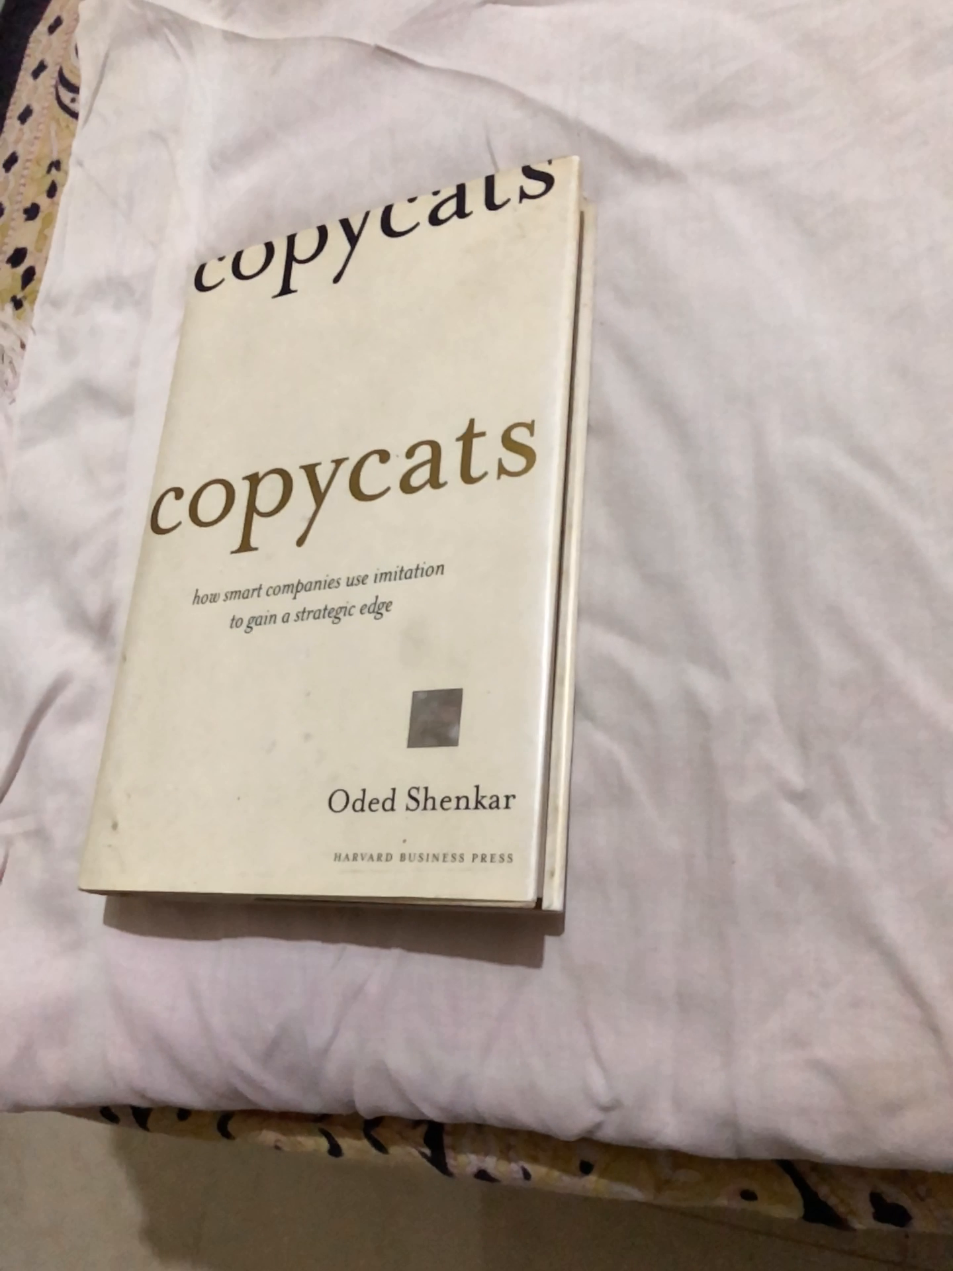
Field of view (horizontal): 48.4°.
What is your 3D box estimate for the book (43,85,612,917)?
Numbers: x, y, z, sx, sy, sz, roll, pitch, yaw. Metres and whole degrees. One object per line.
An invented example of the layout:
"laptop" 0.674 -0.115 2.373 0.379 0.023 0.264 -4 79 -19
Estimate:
"book" -0.040 -0.038 0.321 0.150 0.040 0.230 -6 69 28
